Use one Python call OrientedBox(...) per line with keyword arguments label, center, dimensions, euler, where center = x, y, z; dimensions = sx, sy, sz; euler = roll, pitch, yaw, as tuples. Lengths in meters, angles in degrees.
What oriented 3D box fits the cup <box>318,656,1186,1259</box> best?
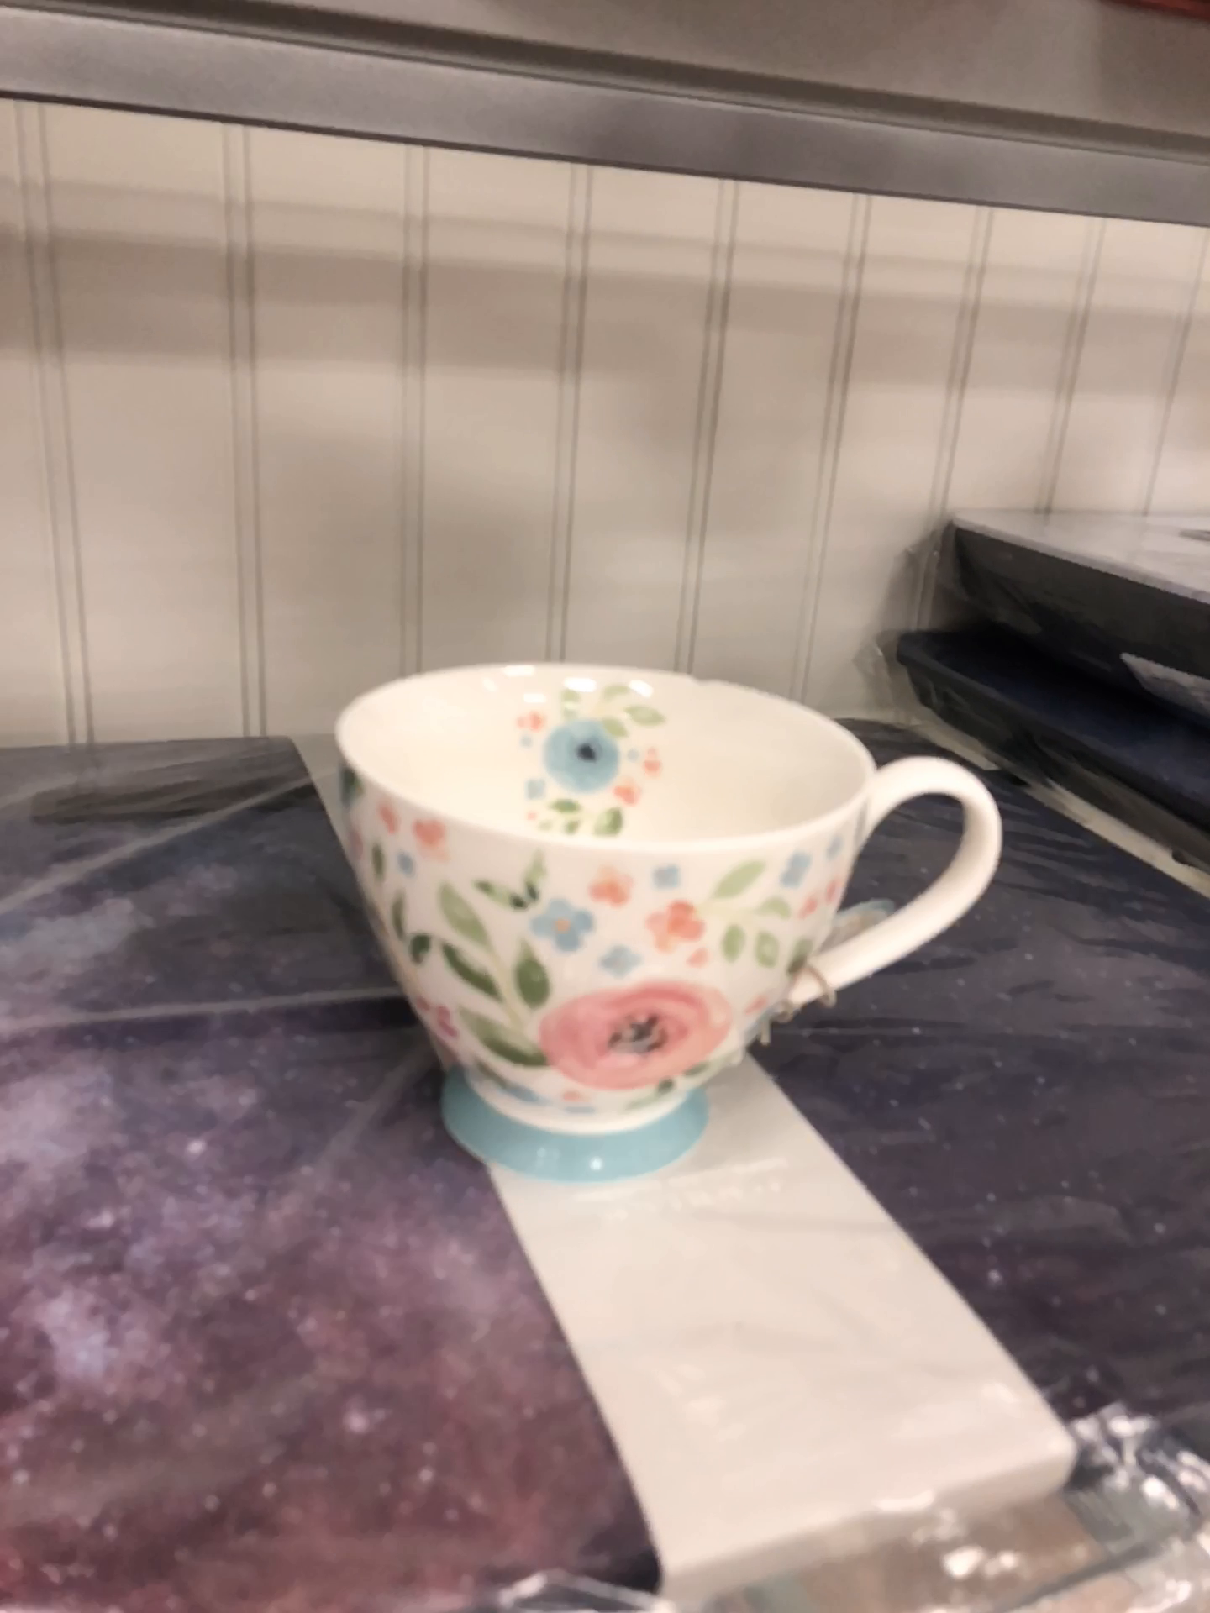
OrientedBox(label="cup", center=(0.018, 0.024, 0.286), dimensions=(0.150, 0.079, 0.111), euler=(0, 22, -10))
